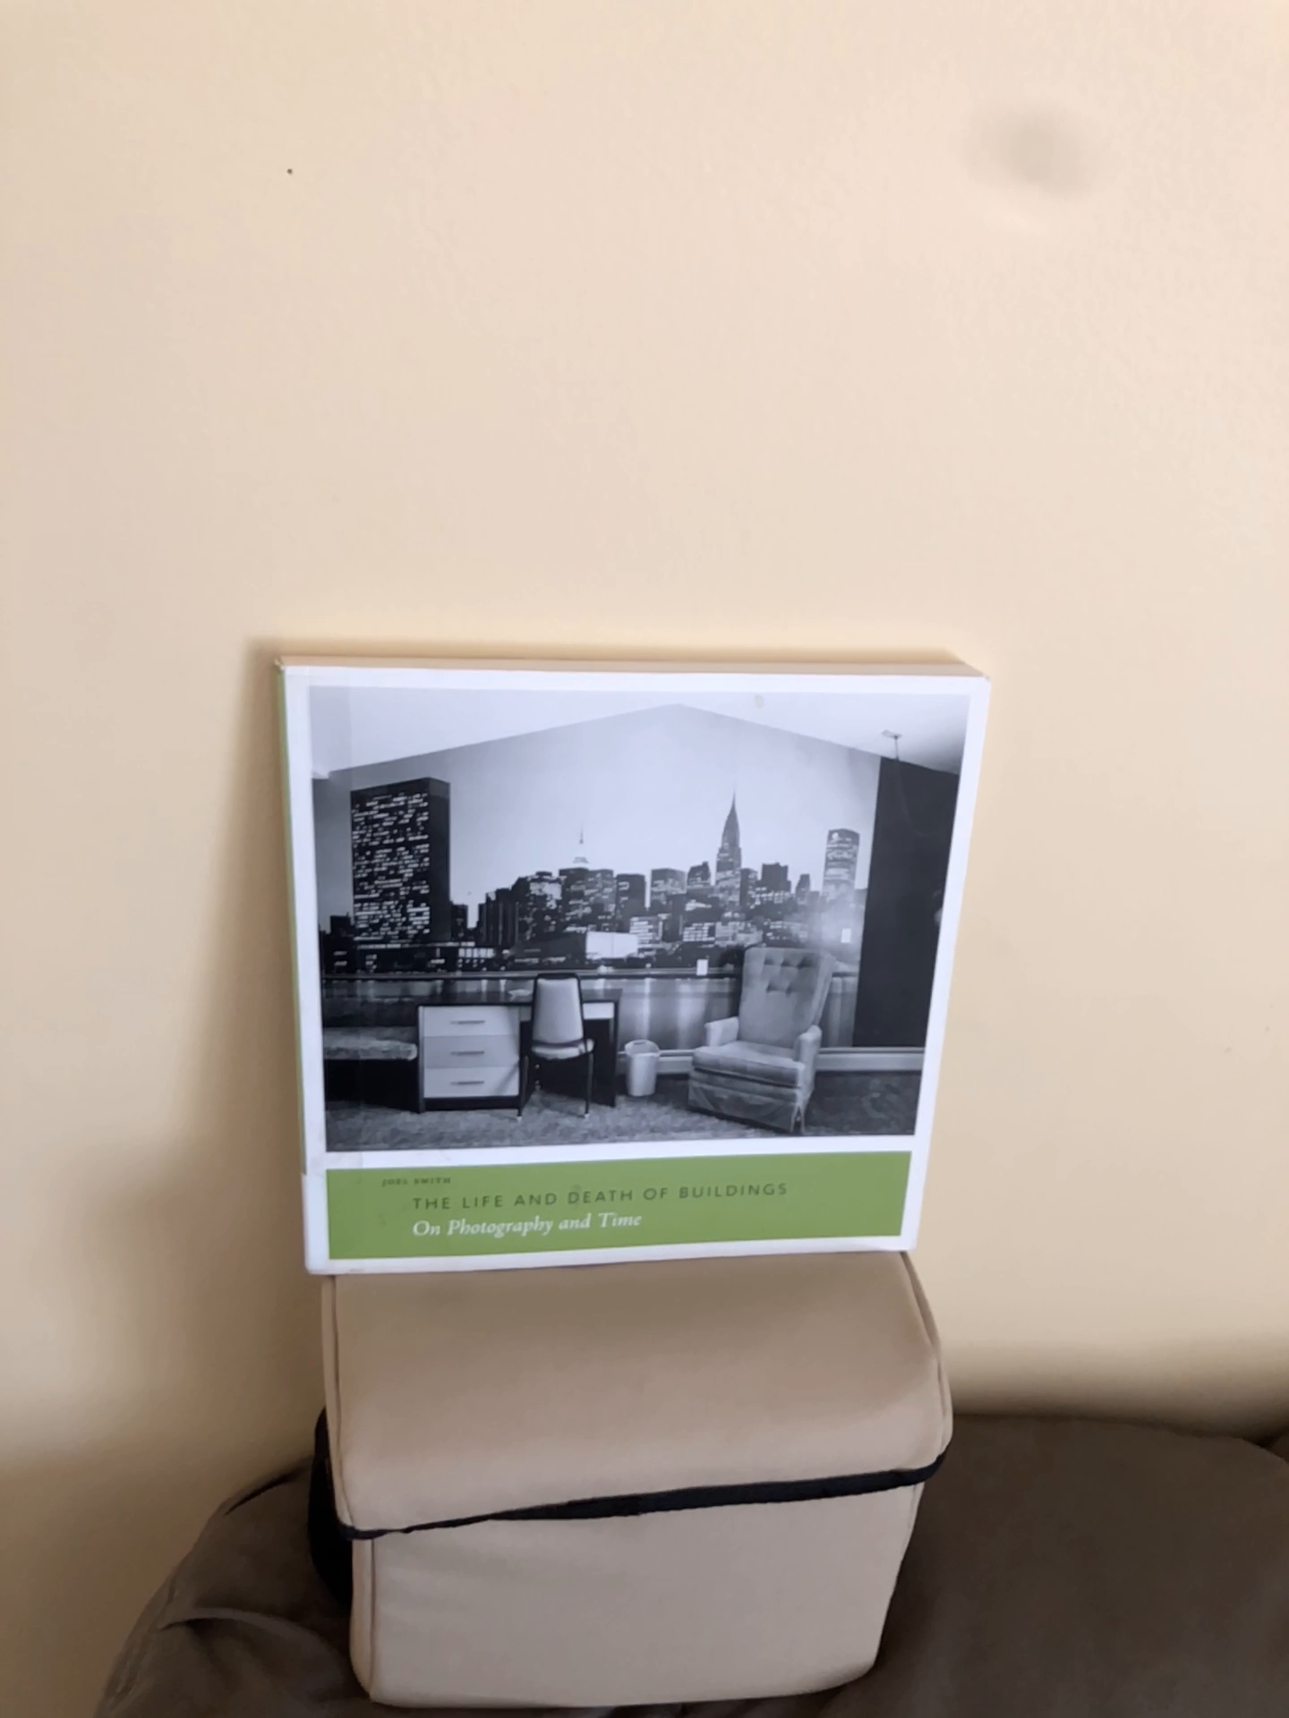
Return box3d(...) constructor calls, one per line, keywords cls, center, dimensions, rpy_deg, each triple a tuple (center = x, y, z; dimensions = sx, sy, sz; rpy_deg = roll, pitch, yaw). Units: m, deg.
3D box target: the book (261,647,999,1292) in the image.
box3d(cls="book", center=(-0.006, 0.038, 0.454), dimensions=(0.216, 0.203, 0.020), rpy_deg=(-1, 19, -11))
